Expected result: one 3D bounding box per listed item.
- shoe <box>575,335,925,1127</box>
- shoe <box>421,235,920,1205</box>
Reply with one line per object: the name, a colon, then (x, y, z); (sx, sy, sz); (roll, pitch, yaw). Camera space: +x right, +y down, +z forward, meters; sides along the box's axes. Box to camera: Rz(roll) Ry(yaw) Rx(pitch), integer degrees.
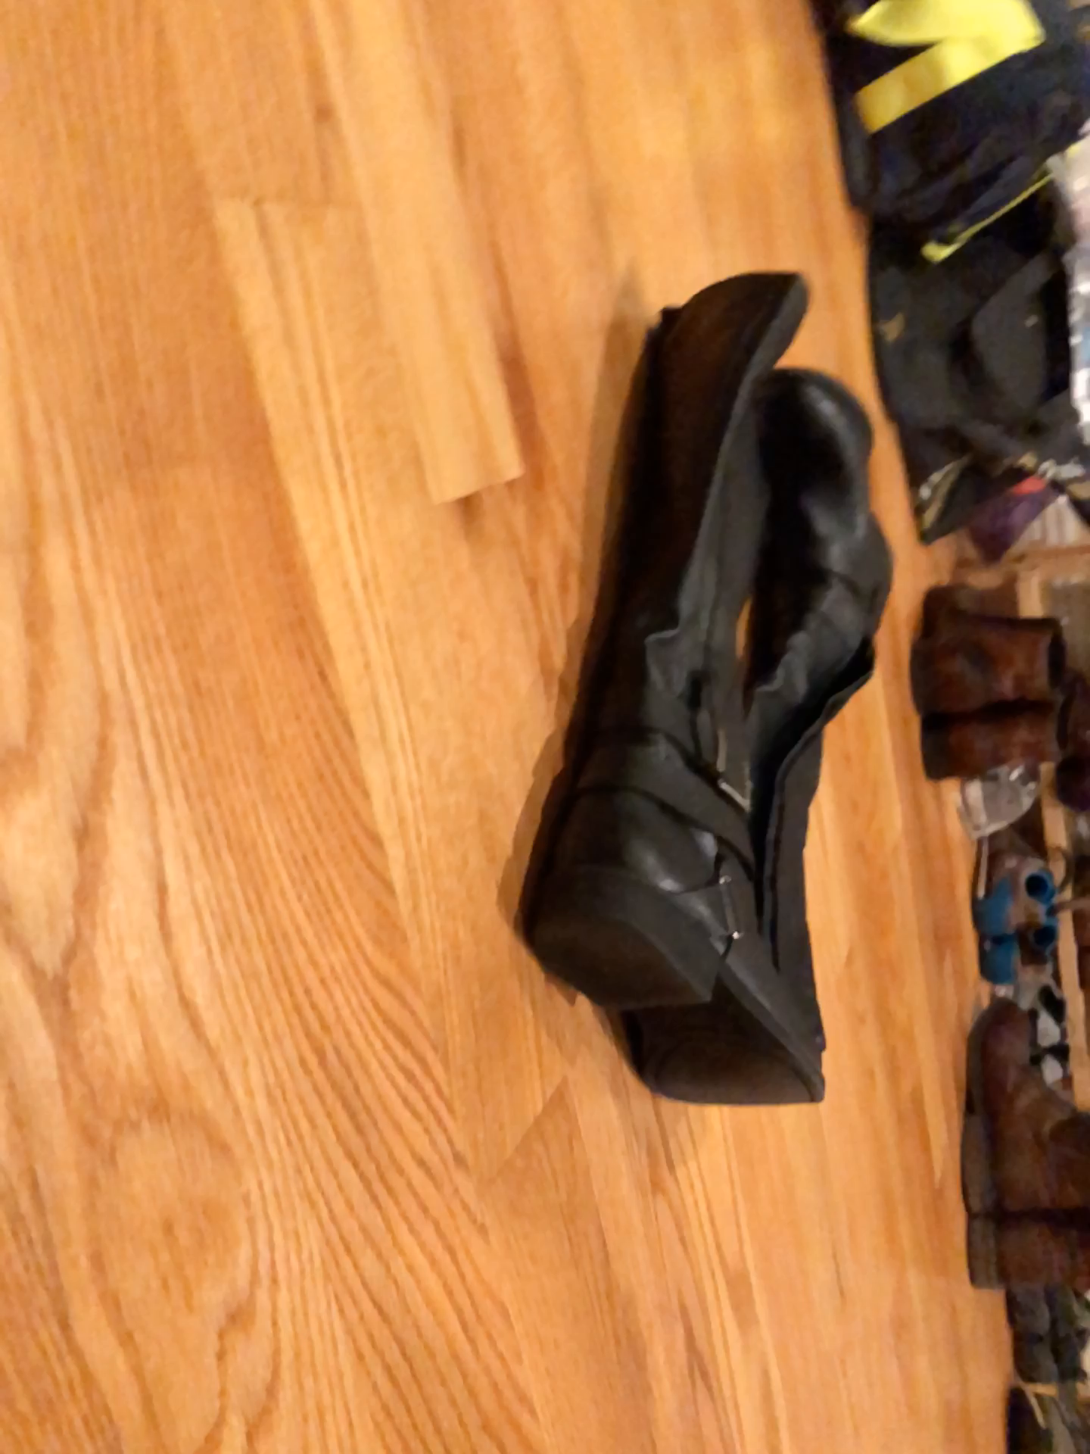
shoe: (0.149, -0.005, 0.722); (0.251, 0.094, 0.394); (58, 37, -42)
shoe: (0.106, -0.007, 0.638); (0.291, 0.104, 0.404); (57, 39, -43)
